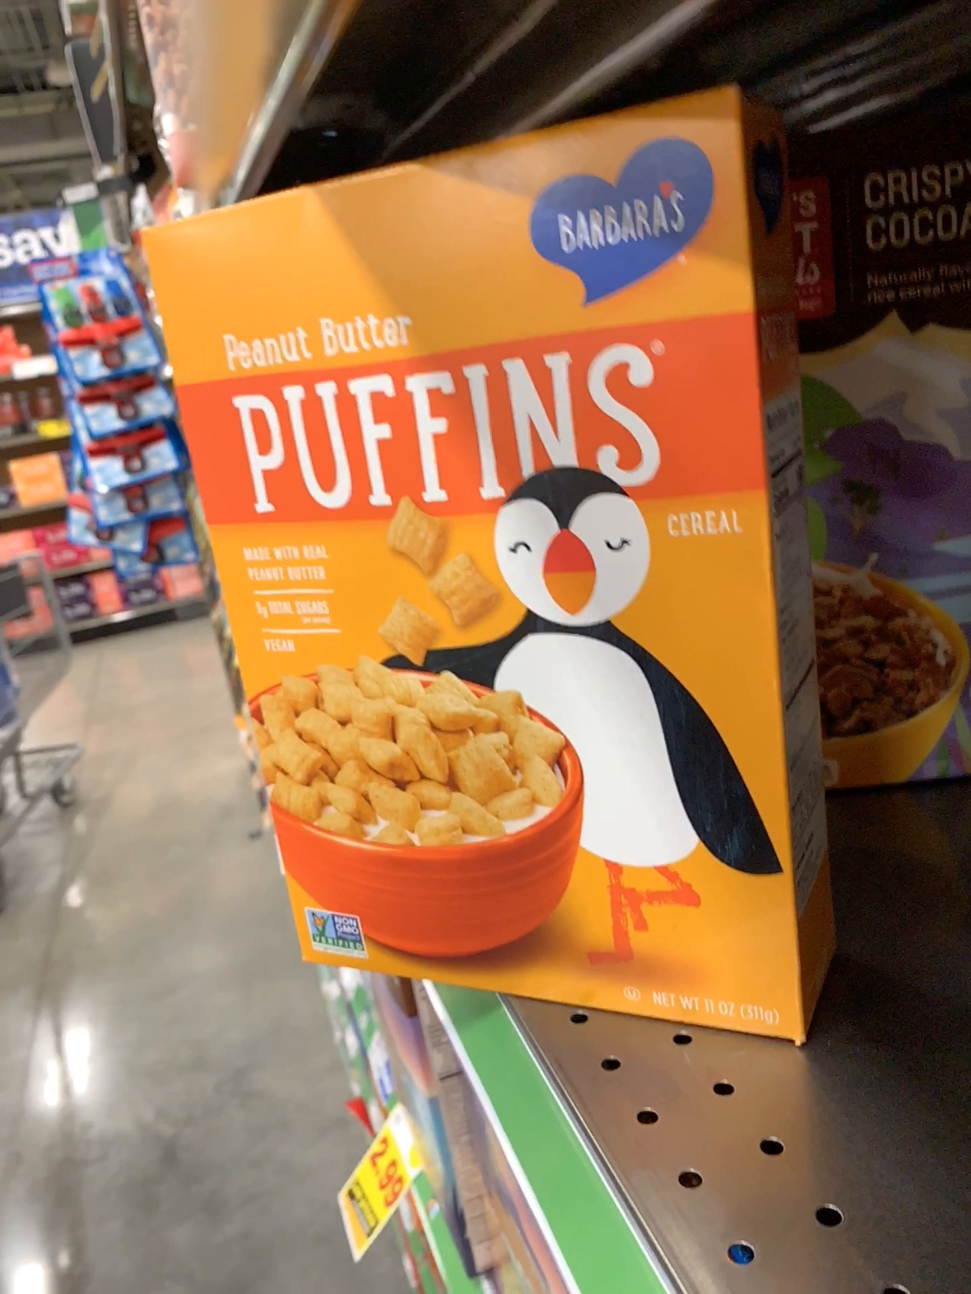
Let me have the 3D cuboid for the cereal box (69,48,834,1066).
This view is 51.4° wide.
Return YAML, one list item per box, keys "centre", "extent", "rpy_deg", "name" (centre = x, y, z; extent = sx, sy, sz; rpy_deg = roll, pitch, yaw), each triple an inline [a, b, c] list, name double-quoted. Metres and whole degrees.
- centre: [-0.005, -0.015, 0.342]
  extent: [0.220, 0.279, 0.060]
  rpy_deg: [0, 18, 25]
  name: "cereal box"
